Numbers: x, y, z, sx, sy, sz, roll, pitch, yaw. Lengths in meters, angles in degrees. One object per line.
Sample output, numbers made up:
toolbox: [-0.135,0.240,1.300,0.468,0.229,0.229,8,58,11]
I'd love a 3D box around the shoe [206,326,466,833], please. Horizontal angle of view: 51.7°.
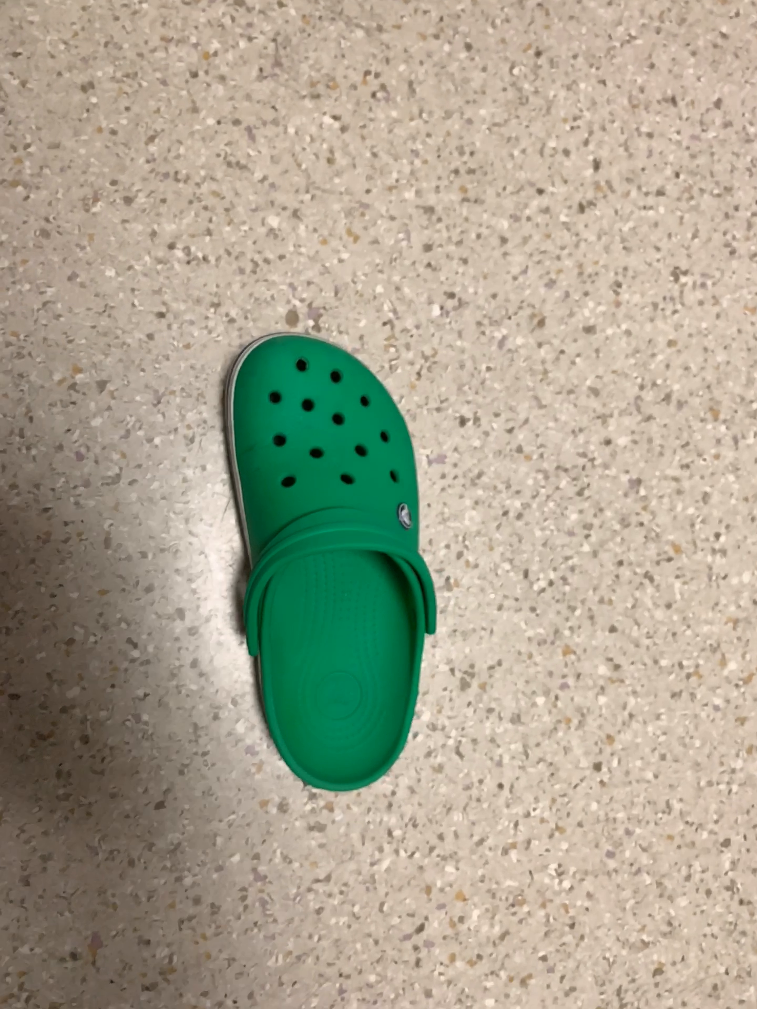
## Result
shoe: [-0.028,0.033,0.416,0.108,0.082,0.234,-4,88,-13]
